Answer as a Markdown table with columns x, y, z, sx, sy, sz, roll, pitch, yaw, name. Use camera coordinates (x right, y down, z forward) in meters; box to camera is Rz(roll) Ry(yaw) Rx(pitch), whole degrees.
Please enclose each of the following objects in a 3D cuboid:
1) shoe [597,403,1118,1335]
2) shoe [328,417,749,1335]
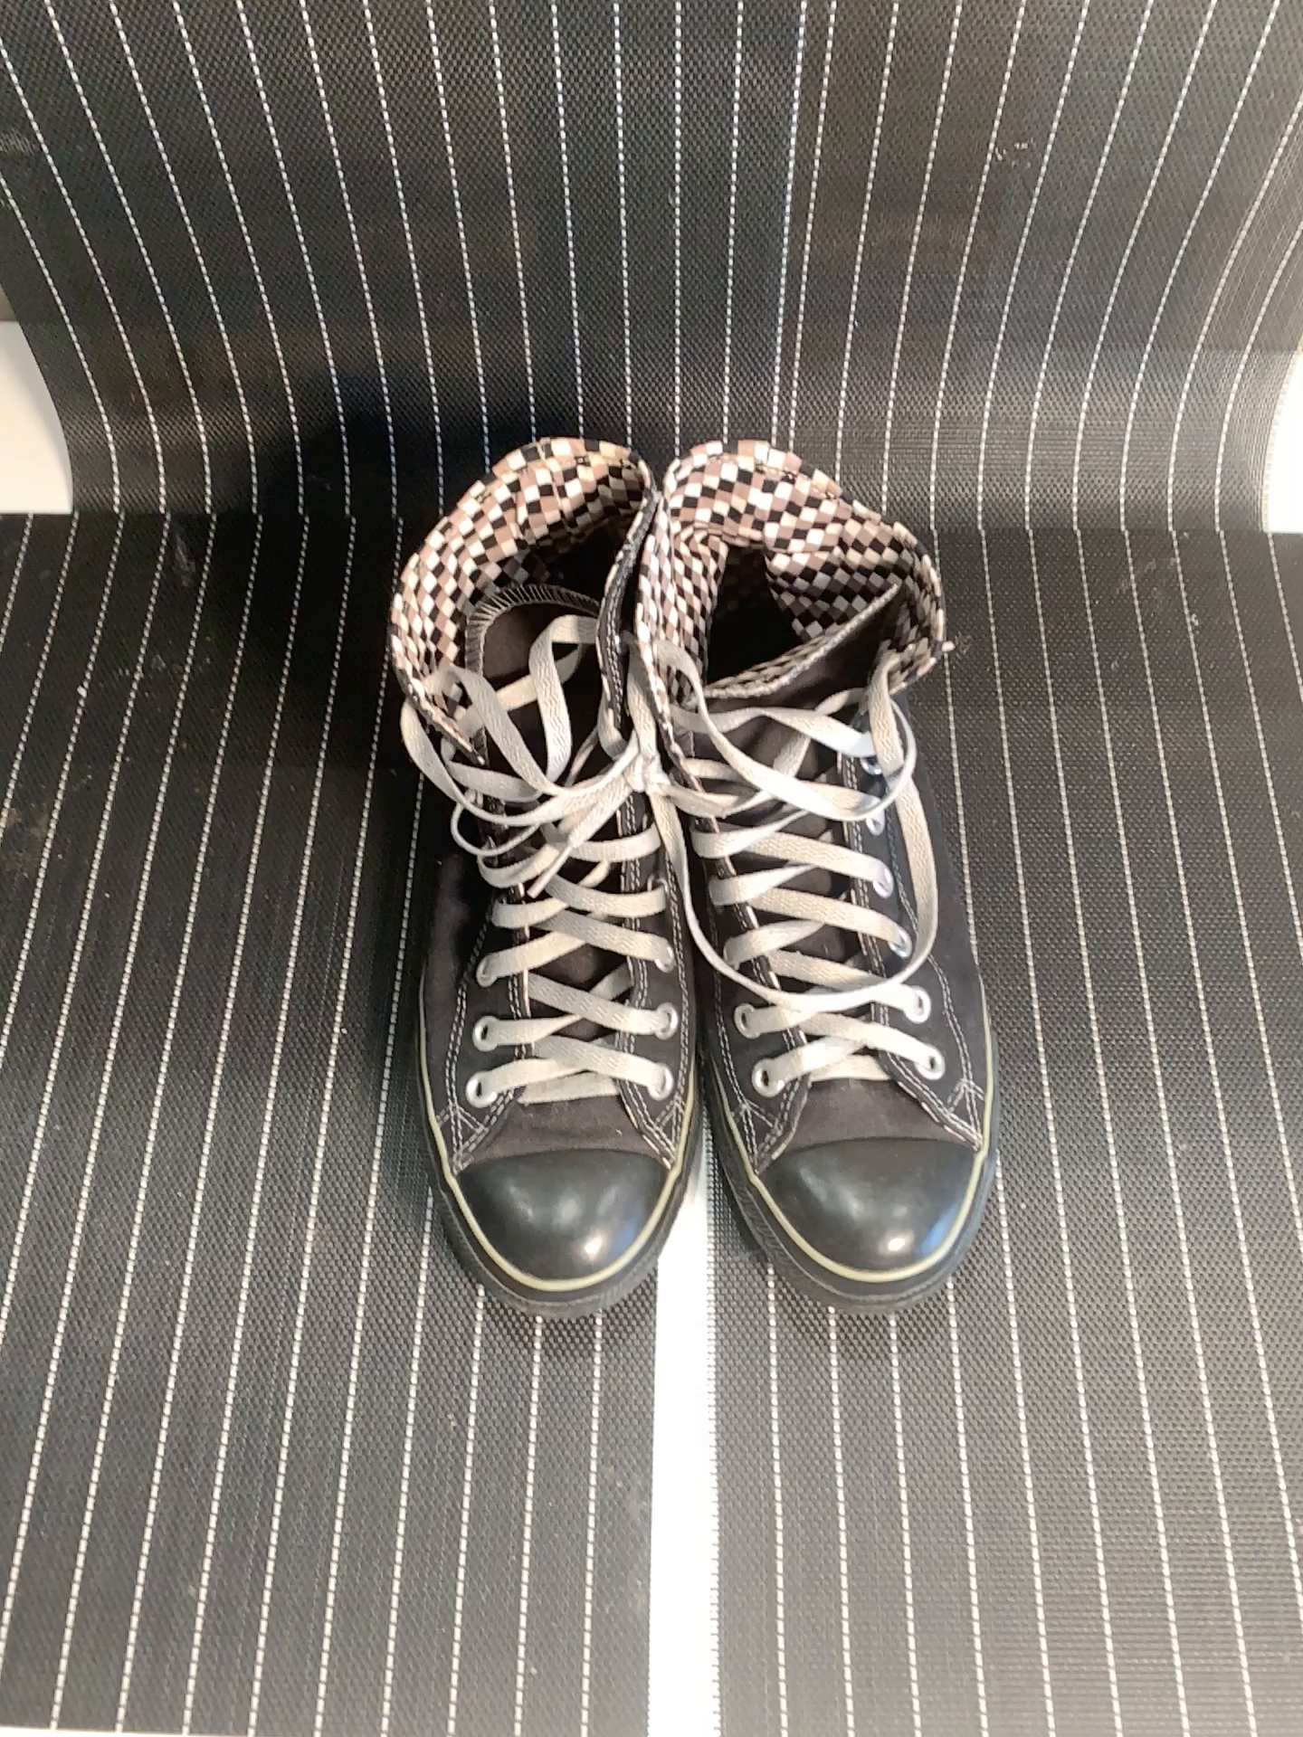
| x | y | z | sx | sy | sz | roll | pitch | yaw | name |
| --- | --- | --- | --- | --- | --- | --- | --- | --- | --- |
| 0.053 | 0.001 | 0.469 | 0.110 | 0.130 | 0.290 | -6 | 67 | -2 | shoe |
| -0.033 | 0.004 | 0.465 | 0.110 | 0.130 | 0.290 | -2 | 67 | 0 | shoe |
